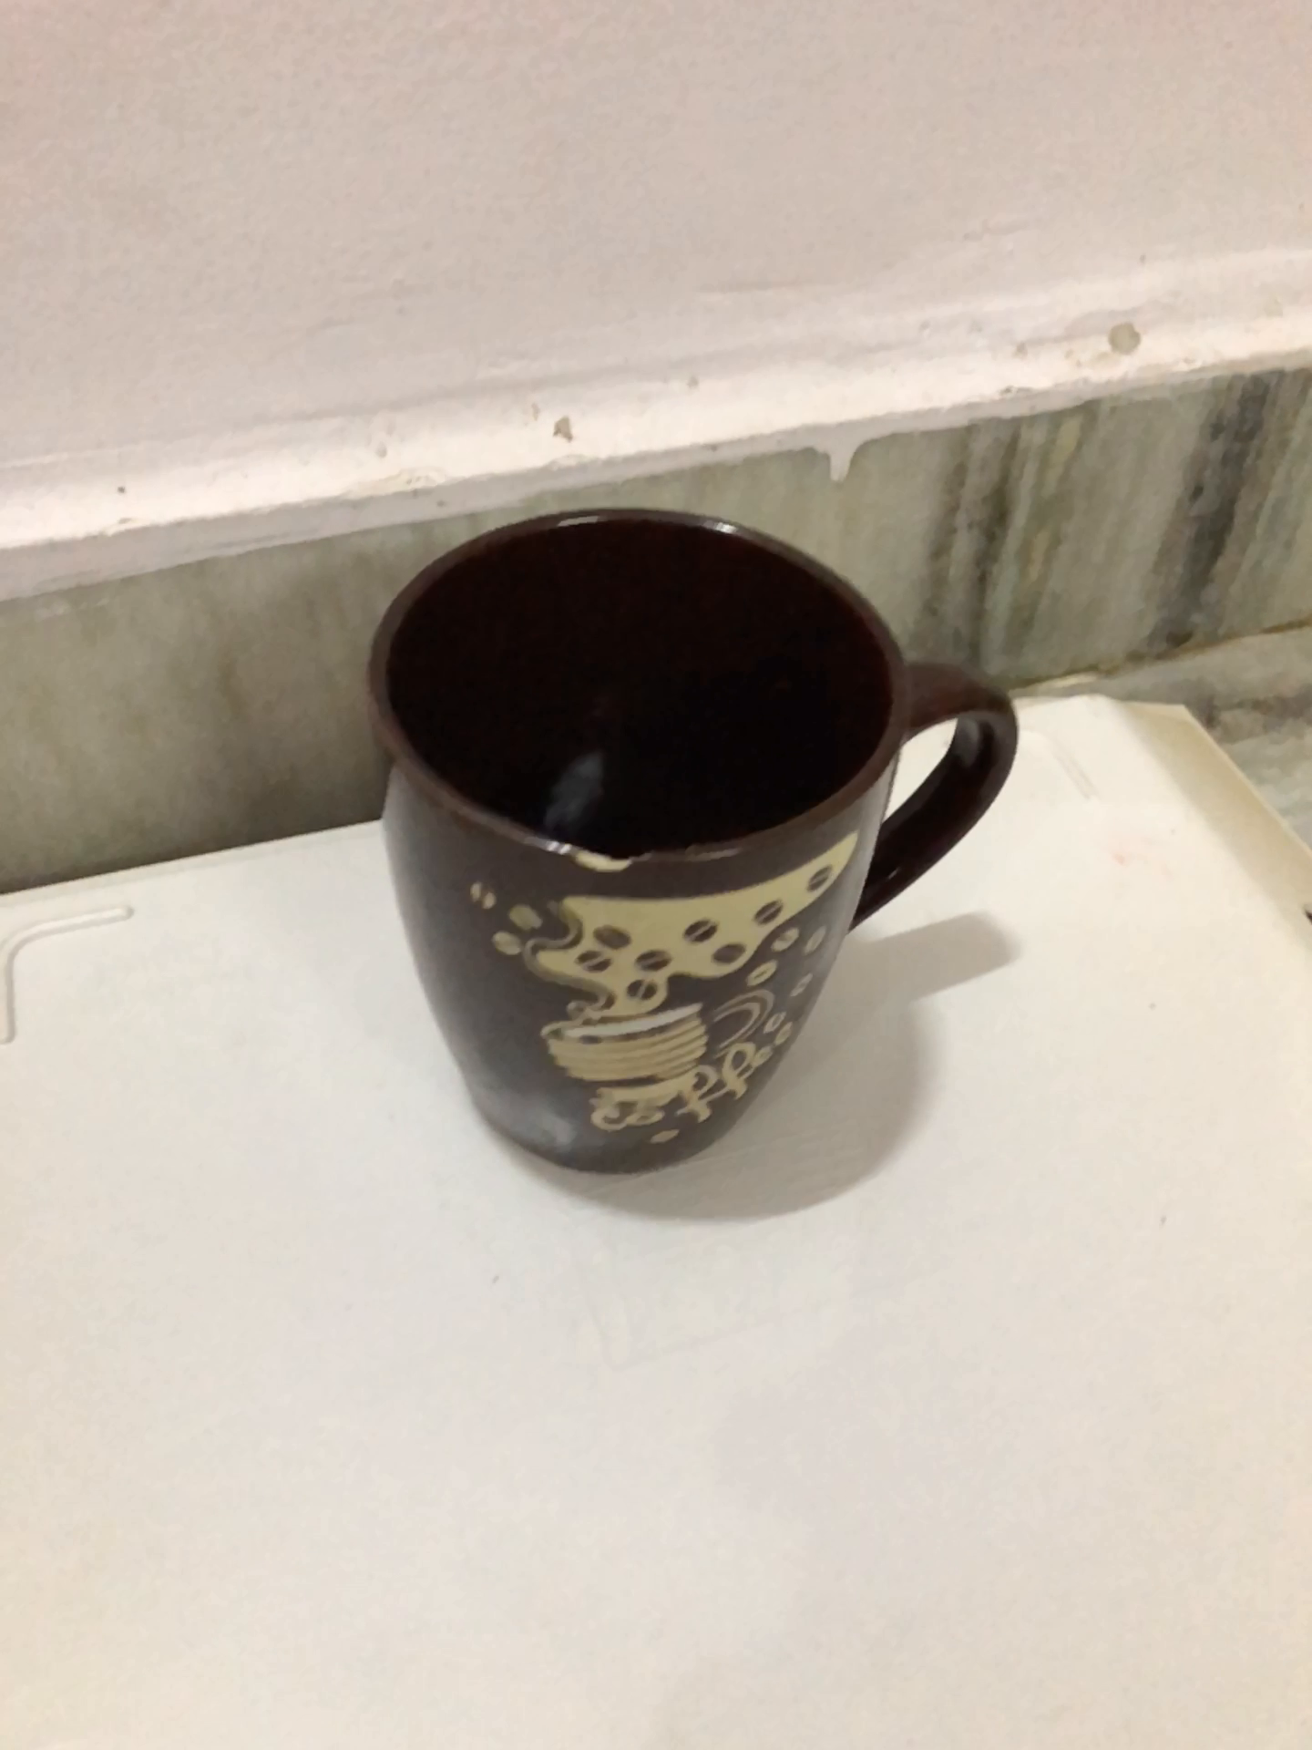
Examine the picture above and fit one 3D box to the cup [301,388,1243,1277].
[{"bbox_3d":[0.015,-0.010,0.250,0.120,0.099,0.070,-20,51,-22],"label":"cup"}]
